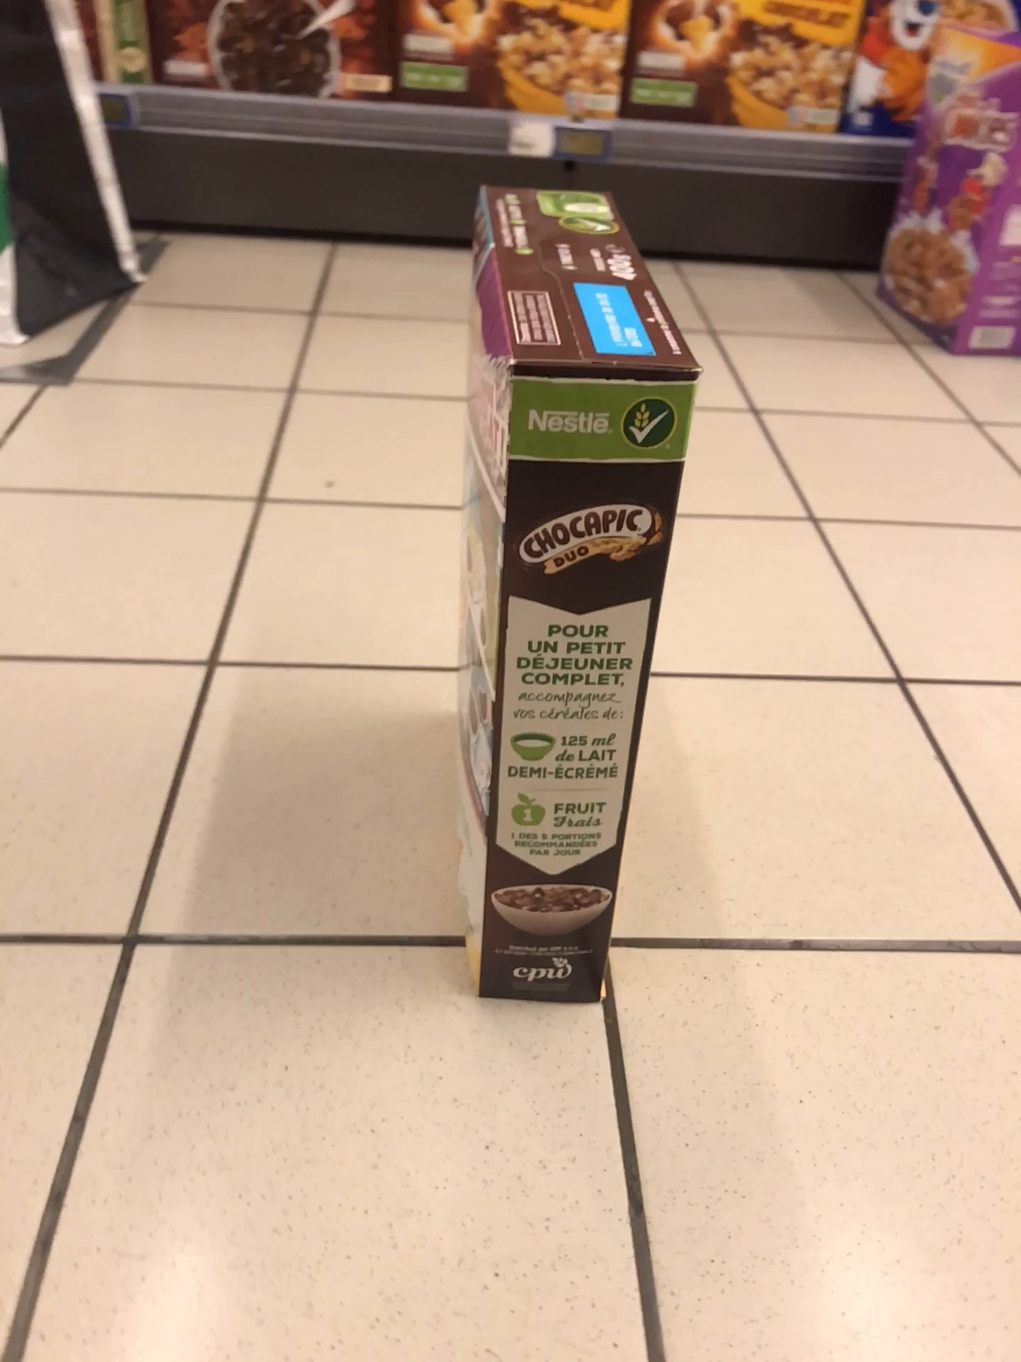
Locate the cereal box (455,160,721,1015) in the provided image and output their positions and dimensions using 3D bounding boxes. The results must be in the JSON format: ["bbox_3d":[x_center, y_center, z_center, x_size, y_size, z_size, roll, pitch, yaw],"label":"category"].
[{"bbox_3d":[0.013,-0.039,0.457,0.060,0.278,0.201,0,35,-5],"label":"cereal box"}]
